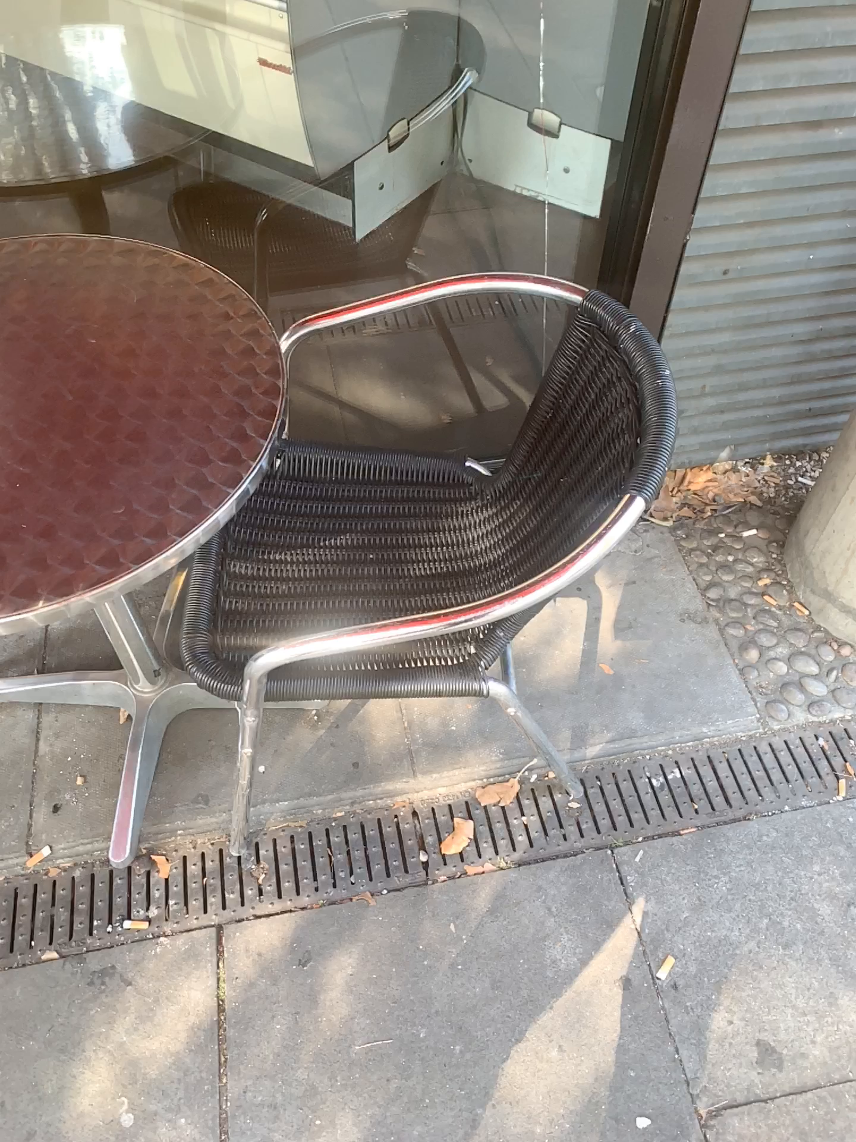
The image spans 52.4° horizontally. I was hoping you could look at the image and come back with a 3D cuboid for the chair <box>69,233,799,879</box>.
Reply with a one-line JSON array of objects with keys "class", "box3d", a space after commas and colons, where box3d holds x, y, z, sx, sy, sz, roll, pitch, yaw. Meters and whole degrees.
[{"class": "chair", "box3d": [-0.012, -0.009, 1.185, 0.640, 0.605, 0.605, -3, 51, -3]}]
